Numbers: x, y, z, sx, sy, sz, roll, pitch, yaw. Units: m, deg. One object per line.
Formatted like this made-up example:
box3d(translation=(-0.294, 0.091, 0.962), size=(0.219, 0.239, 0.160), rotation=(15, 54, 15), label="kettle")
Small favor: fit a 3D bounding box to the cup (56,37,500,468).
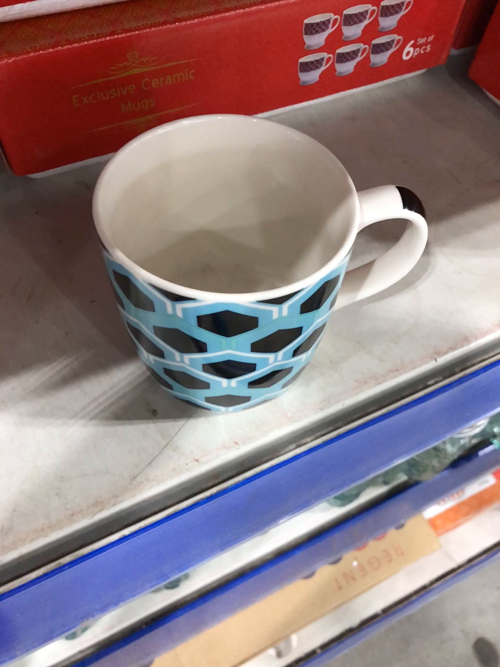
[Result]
box3d(translation=(0.003, -0.030, 0.238), size=(0.130, 0.120, 0.110), rotation=(-11, 59, -9), label="cup")
